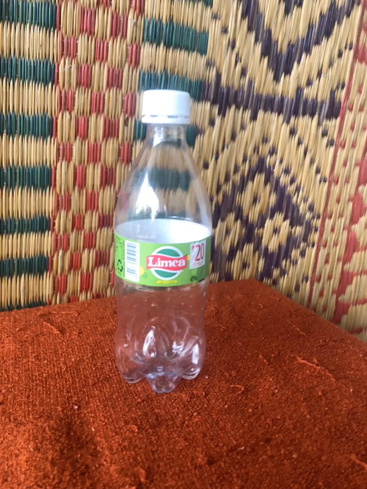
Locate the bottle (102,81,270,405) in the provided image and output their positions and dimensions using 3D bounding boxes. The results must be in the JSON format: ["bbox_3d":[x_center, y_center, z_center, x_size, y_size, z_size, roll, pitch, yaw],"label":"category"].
[{"bbox_3d":[-0.007,-0.002,0.217,0.060,0.149,0.060,5,17,-1],"label":"bottle"}]
